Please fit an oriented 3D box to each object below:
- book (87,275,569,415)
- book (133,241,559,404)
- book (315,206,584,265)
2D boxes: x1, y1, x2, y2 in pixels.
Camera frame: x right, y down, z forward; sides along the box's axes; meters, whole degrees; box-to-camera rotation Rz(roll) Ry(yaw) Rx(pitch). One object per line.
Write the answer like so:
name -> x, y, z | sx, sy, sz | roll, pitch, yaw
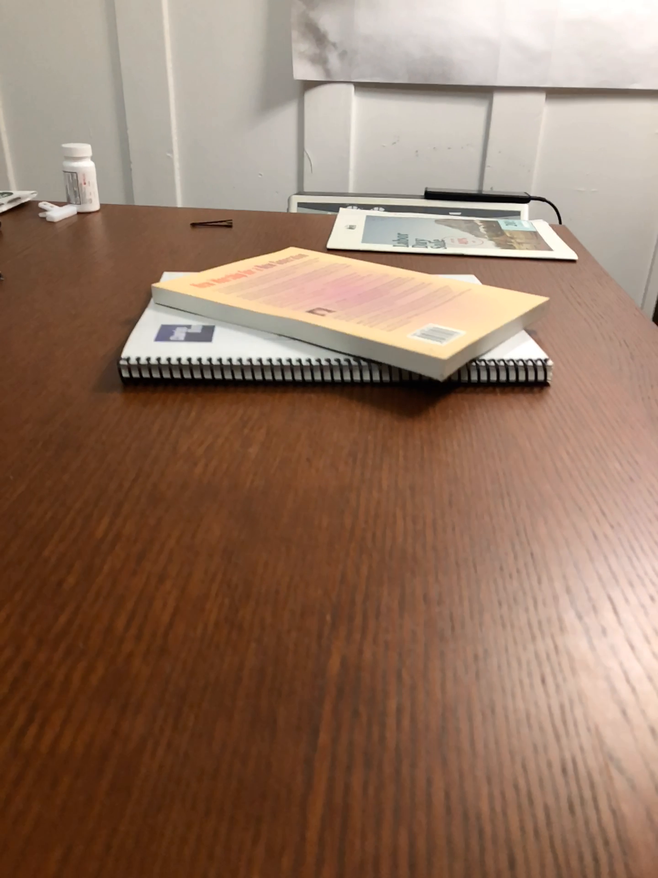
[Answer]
book -> -0.006, -0.079, 0.539 | 0.290, 0.020, 0.231 | -1, 28, -5
book -> 0.014, -0.103, 0.549 | 0.260, 0.020, 0.191 | 20, 33, 29
book -> 0.127, -0.235, 0.819 | 0.270, 0.010, 0.201 | 3, 28, 3
